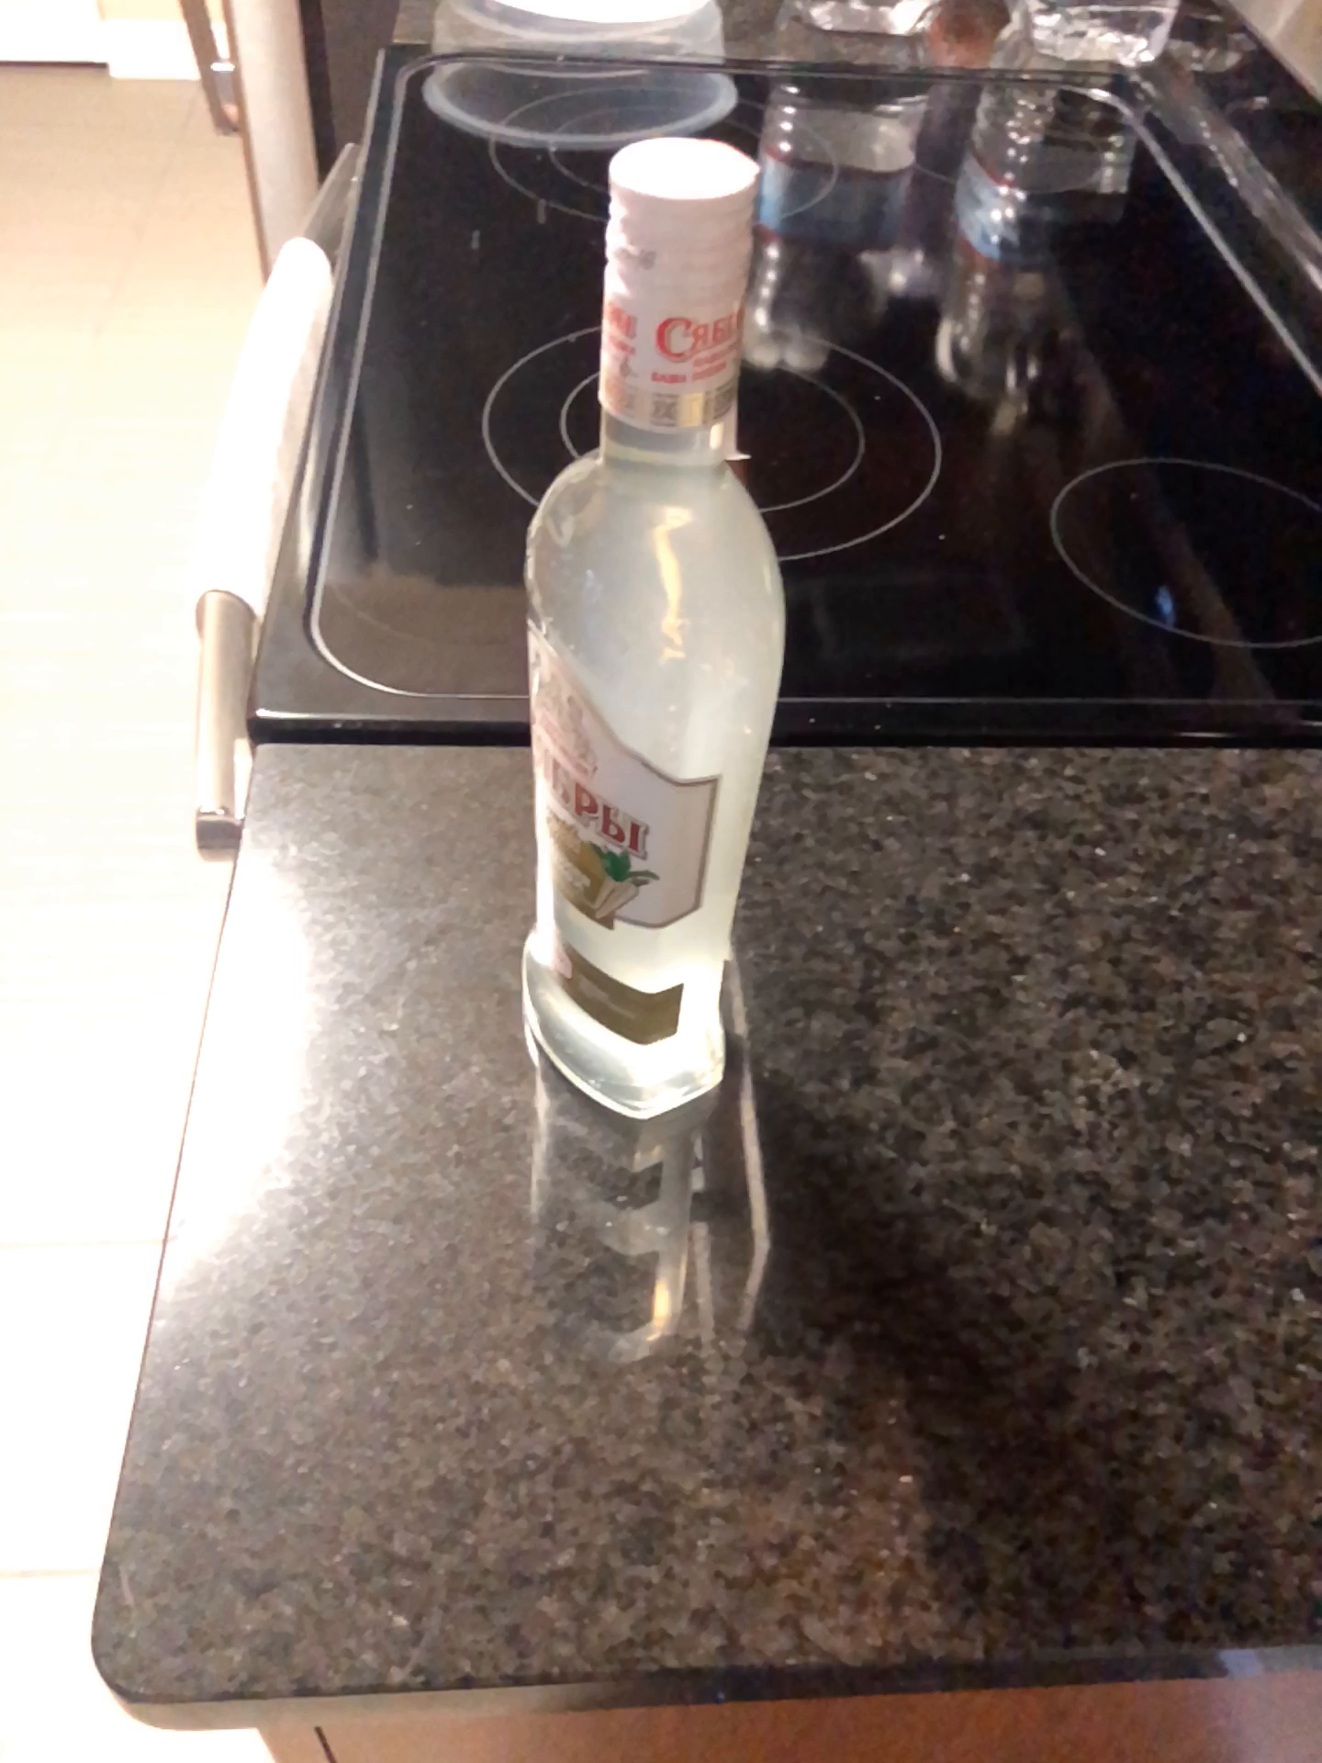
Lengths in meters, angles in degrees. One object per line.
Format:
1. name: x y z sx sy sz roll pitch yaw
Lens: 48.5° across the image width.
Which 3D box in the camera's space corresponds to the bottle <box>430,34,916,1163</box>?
1. bottle: -0.009 -0.048 0.369 0.060 0.269 0.090 -15 50 -18
